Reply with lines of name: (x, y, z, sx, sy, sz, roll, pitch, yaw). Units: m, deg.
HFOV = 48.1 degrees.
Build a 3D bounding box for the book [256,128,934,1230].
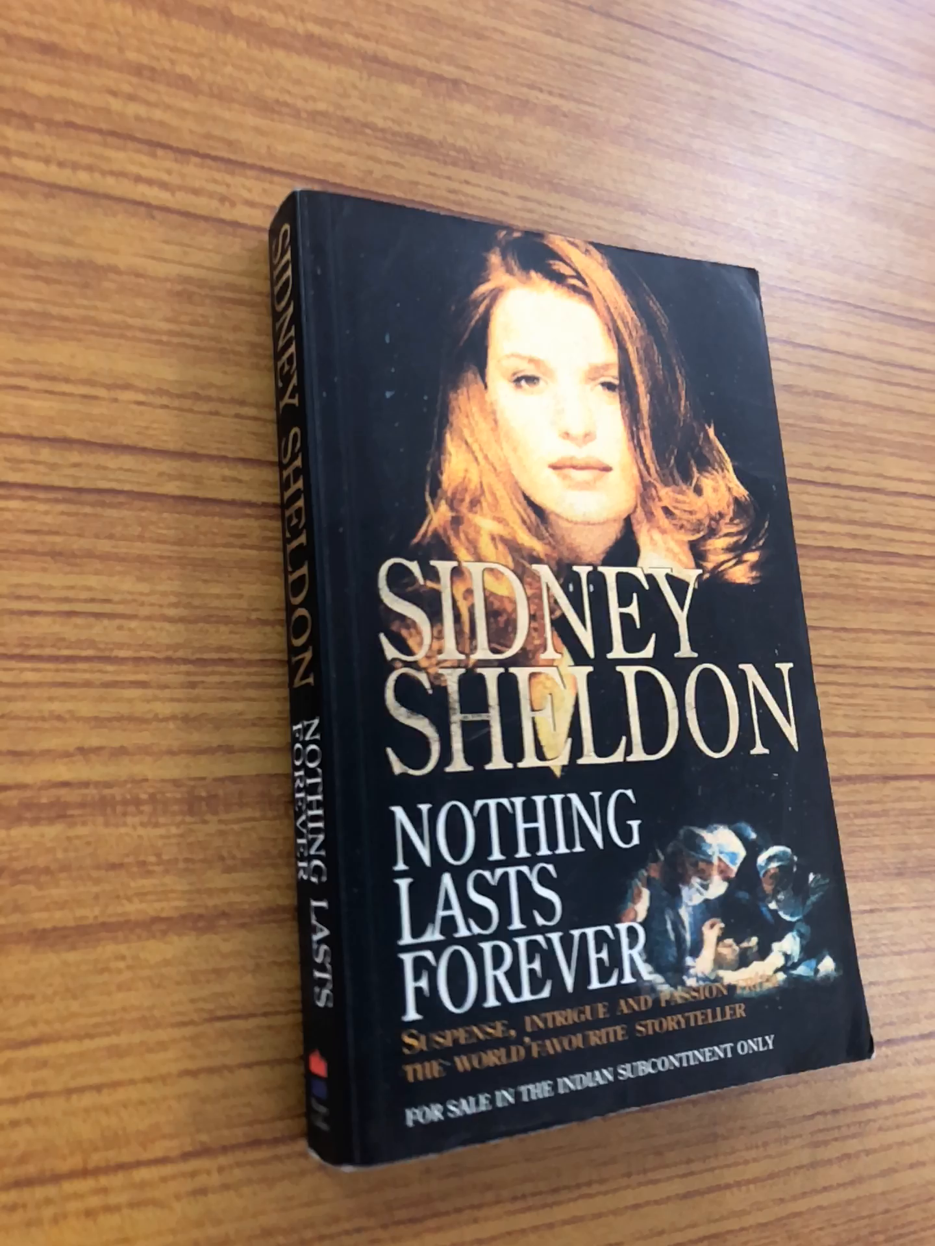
book: (0.027, 0.004, 0.200, 0.120, 0.030, 0.170, 0, 80, -26)
